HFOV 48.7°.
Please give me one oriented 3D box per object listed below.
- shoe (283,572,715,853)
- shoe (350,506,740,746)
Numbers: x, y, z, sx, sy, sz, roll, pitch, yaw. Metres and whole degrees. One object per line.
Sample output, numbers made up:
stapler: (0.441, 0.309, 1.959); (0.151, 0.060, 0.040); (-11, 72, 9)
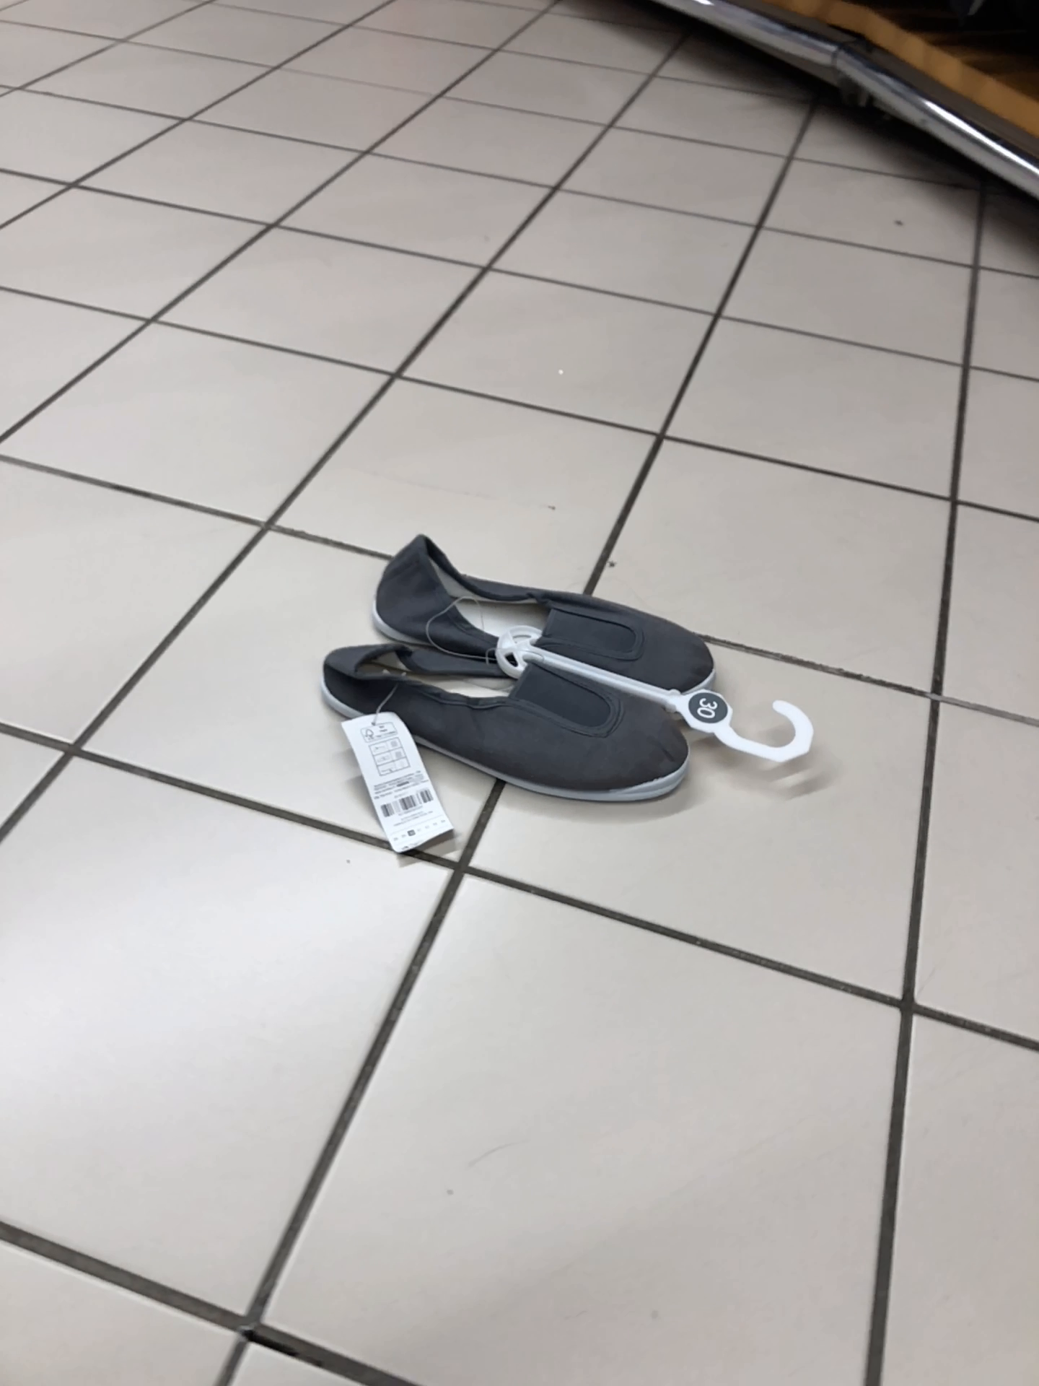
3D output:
shoe: (-0.009, 0.006, 0.549); (0.185, 0.046, 0.078); (16, 45, 12)
shoe: (0.013, -0.038, 0.596); (0.185, 0.046, 0.071); (16, 44, 11)
